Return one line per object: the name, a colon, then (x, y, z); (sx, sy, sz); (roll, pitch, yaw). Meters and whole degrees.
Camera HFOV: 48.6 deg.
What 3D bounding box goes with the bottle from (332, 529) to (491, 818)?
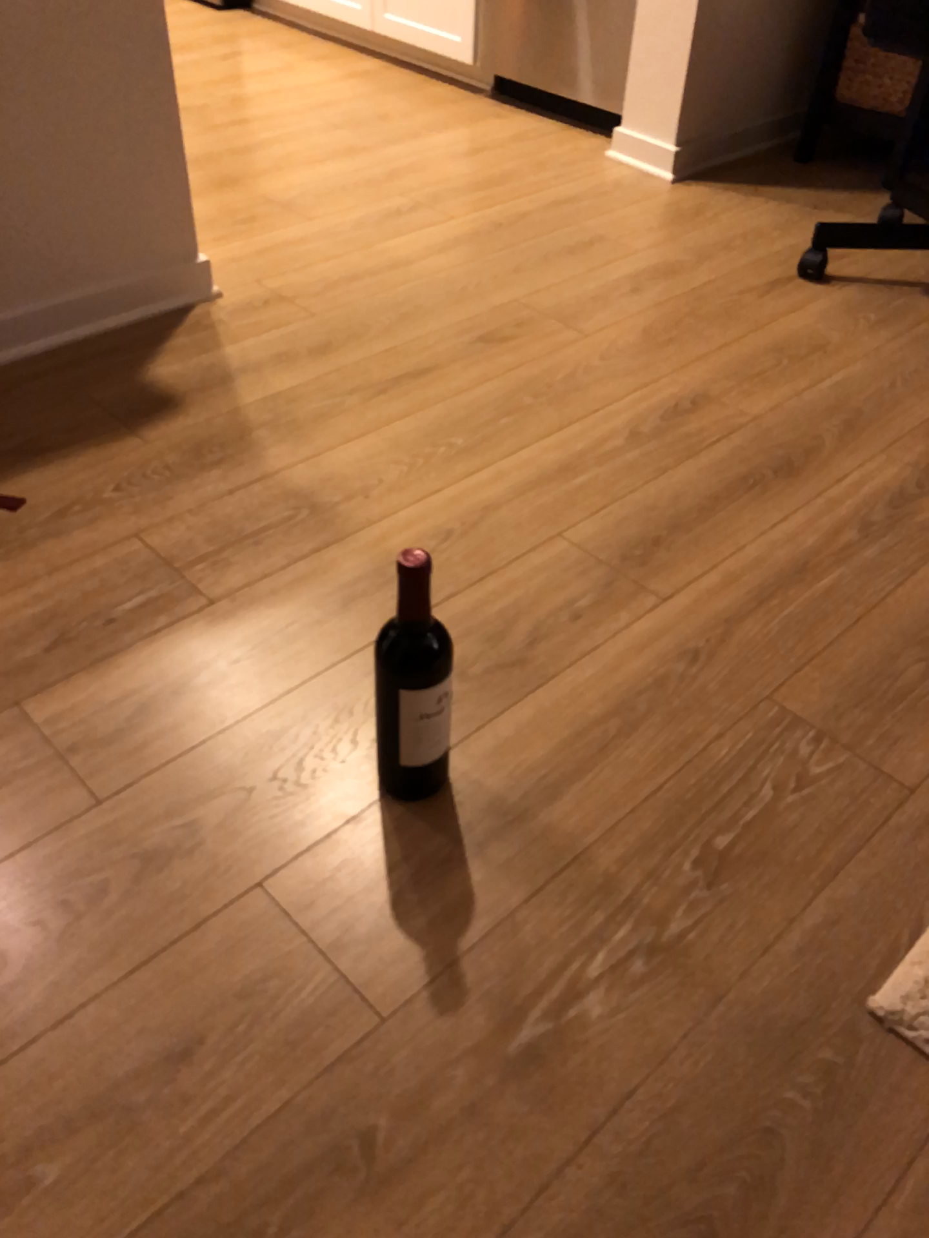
bottle: (-0.053, 0.057, 1.000); (0.110, 0.258, 0.100); (2, 42, -1)
